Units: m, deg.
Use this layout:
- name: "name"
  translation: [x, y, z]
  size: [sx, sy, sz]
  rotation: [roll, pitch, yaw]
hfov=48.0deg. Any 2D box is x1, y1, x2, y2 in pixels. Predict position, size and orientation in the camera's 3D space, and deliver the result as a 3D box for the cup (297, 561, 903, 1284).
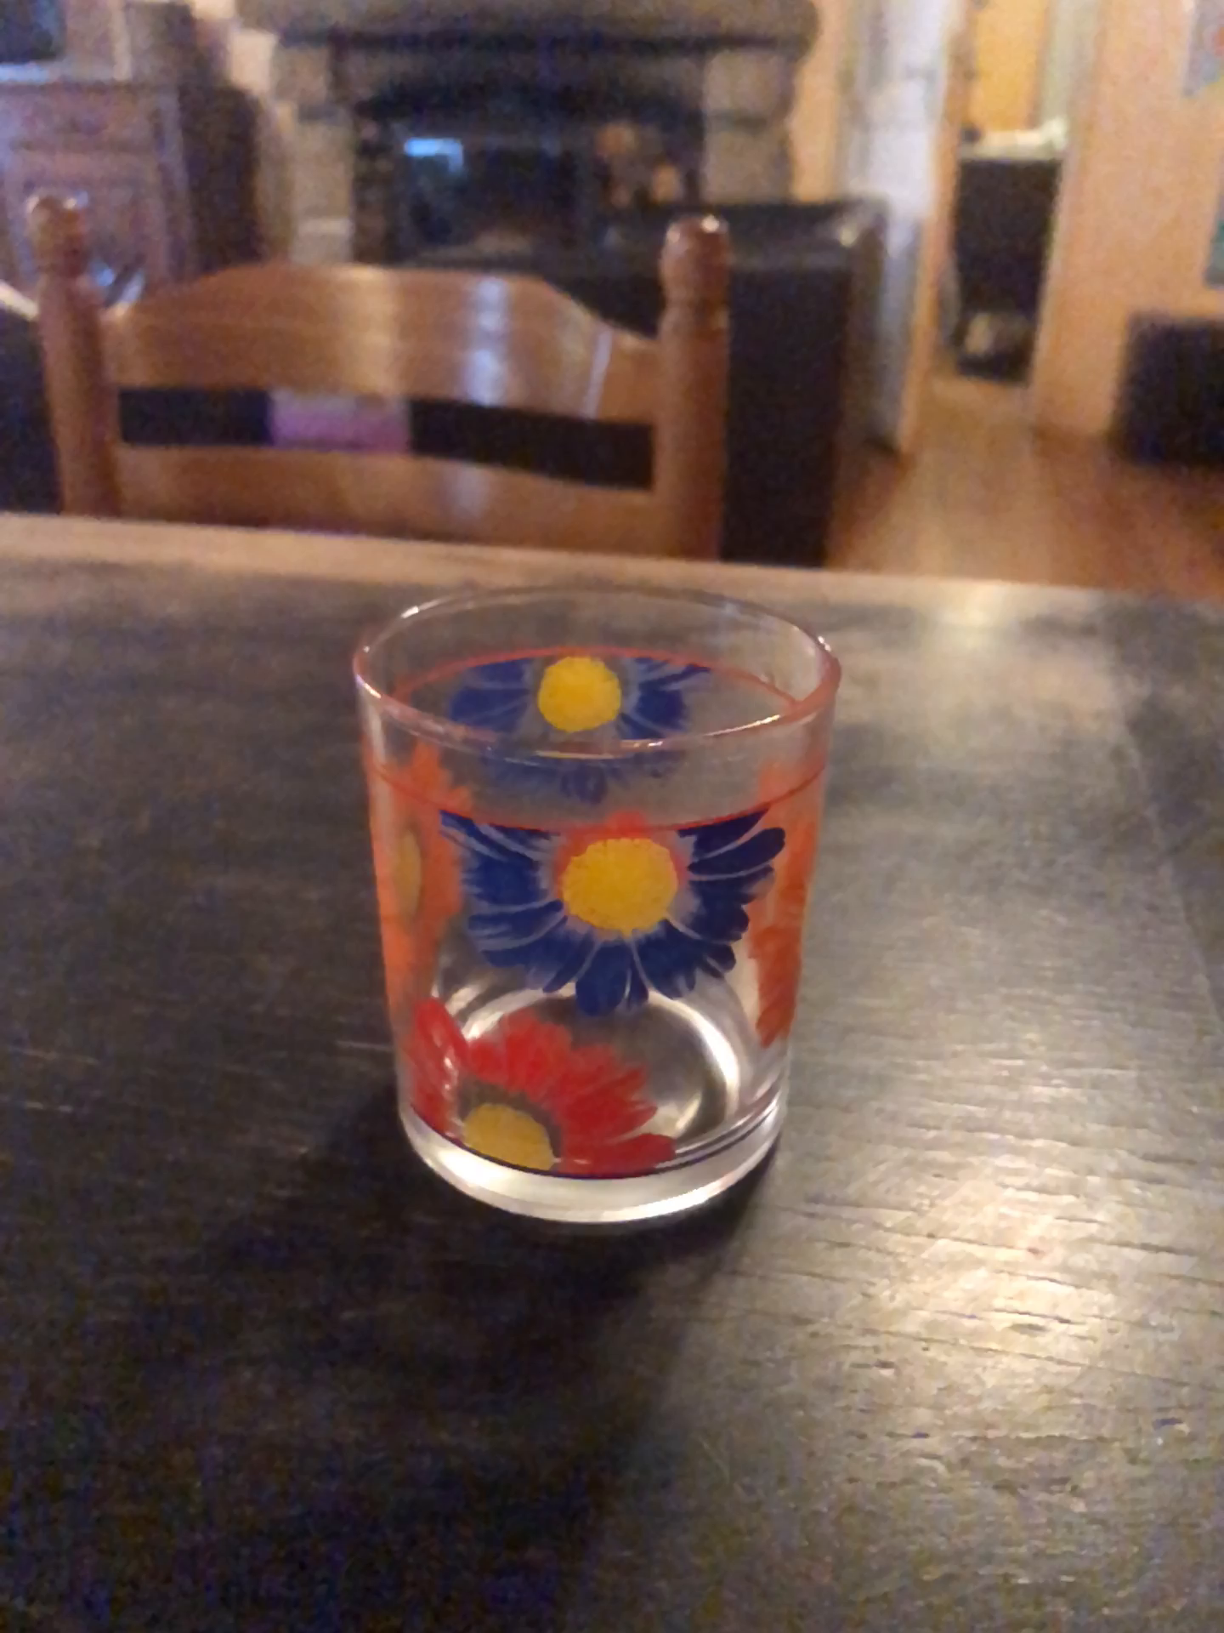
- name: "cup"
  translation: [0.004, 0.011, 0.221]
  size: [0.075, 0.079, 0.079]
  rotation: [1, 26, -1]
